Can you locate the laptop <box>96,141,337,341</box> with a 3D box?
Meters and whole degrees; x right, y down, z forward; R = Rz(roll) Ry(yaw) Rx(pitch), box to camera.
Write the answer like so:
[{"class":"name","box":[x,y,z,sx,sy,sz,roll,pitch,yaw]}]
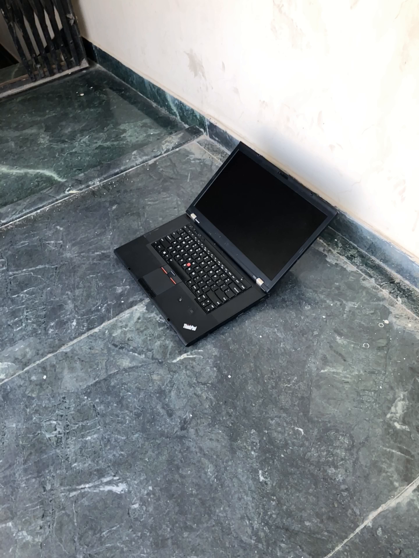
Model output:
[{"class":"laptop","box":[0.011,-0.102,0.973,0.375,0.115,0.312,-30,53,-18]}]
